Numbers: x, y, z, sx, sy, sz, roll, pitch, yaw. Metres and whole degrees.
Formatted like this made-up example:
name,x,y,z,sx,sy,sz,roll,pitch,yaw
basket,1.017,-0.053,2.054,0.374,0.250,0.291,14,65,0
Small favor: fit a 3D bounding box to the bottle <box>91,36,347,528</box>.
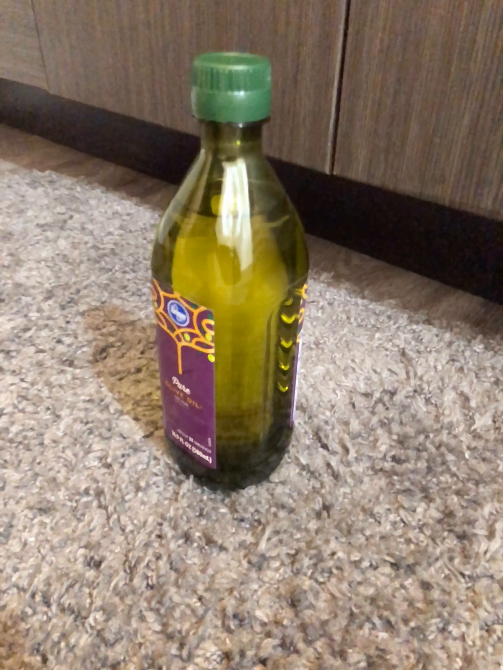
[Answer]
name,x,y,z,sx,sy,sz,roll,pitch,yaw
bottle,-0.013,-0.014,0.257,0.060,0.209,0.070,-27,44,-32
